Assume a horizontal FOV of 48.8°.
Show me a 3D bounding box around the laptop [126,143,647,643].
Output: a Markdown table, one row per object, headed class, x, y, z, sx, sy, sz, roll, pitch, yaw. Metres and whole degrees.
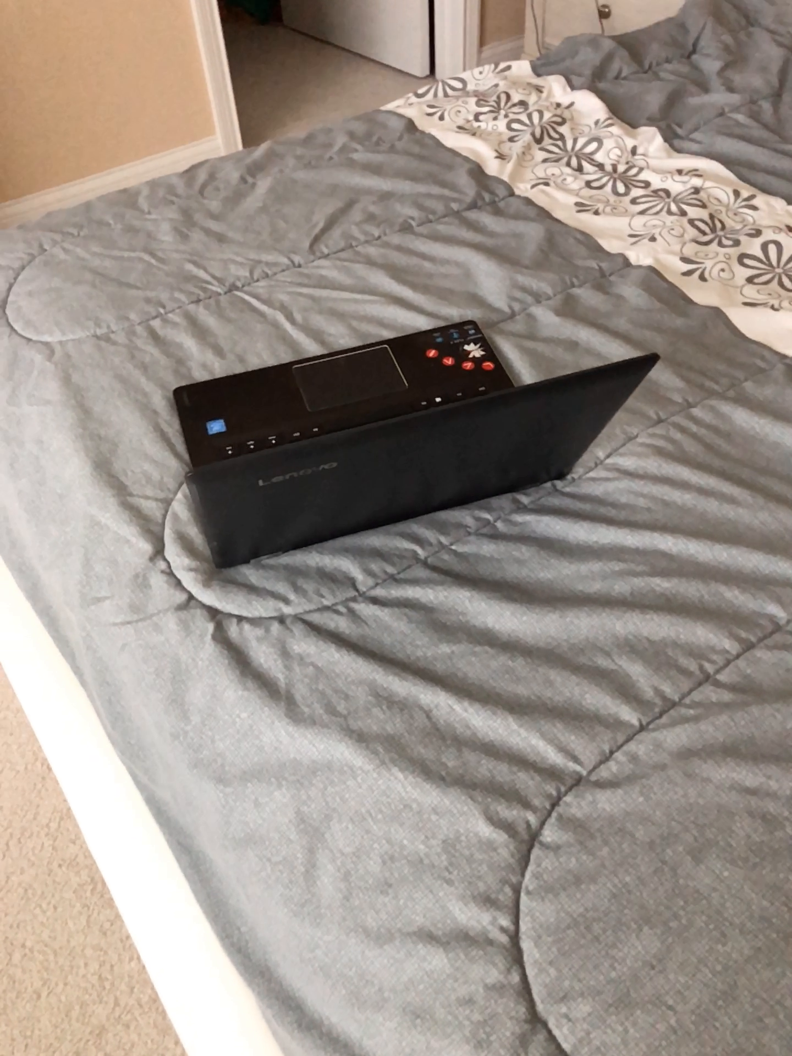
| class | x | y | z | sx | sy | sz | roll | pitch | yaw |
| --- | --- | --- | --- | --- | --- | --- | --- | --- | --- |
| laptop | -0.026 | -0.146 | 0.832 | 0.361 | 0.214 | 0.353 | -15 | 50 | -10 |
